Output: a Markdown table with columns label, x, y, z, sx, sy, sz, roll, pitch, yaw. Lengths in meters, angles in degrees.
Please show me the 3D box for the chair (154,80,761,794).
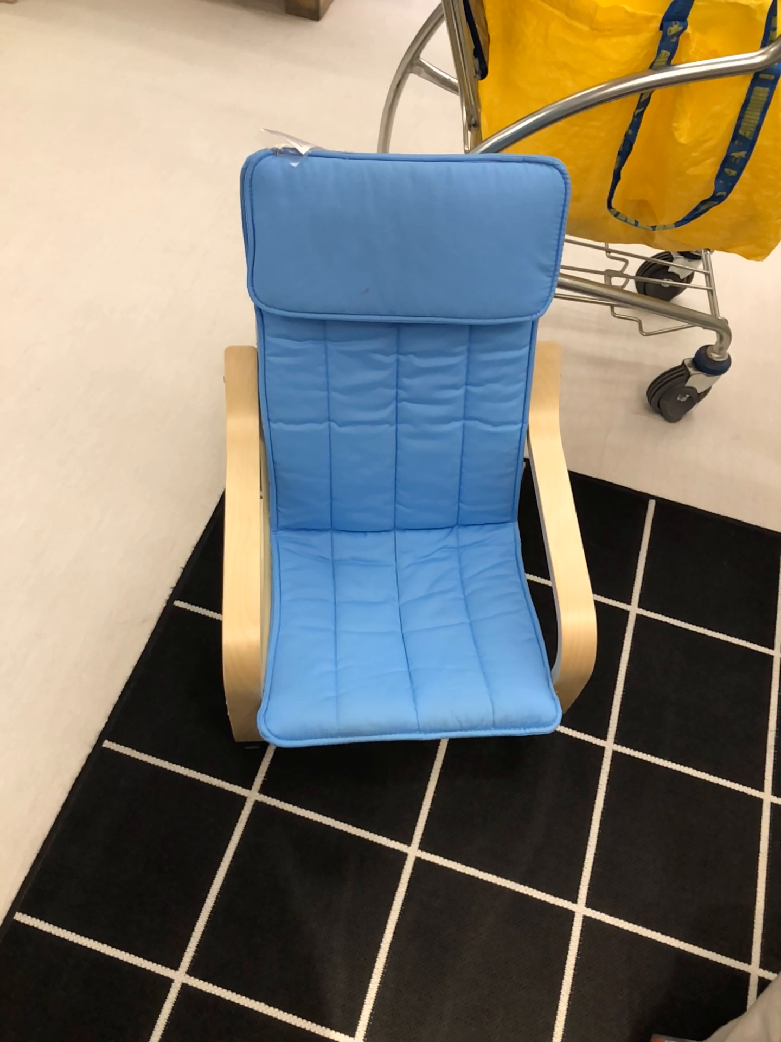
| label | x | y | z | sx | sy | sz | roll | pitch | yaw |
| --- | --- | --- | --- | --- | --- | --- | --- | --- | --- |
| chair | 0.012 | -0.026 | 1.203 | 0.490 | 0.876 | 0.563 | -1 | 58 | -5 |
